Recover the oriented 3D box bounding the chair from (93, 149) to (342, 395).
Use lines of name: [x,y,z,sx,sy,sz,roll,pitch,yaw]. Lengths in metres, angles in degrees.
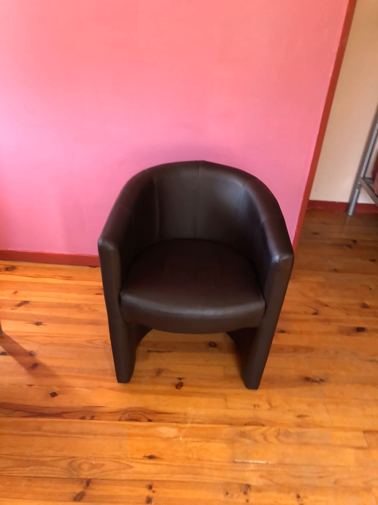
chair: [0.061,0.056,1.528,0.670,0.646,0.594,3,33,-2]
